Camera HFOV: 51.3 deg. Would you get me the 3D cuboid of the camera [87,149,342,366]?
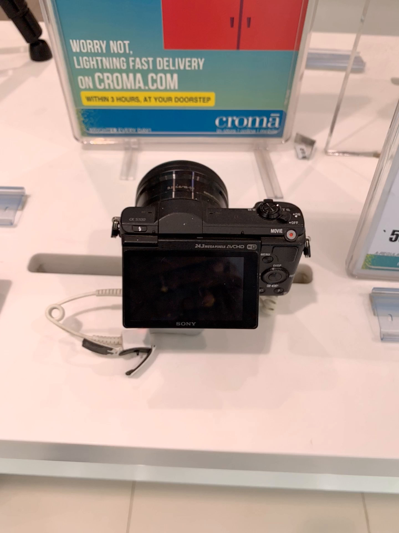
[{"bbox_3d":[0.007,-0.004,0.239,0.110,0.082,0.088,2,50,0],"label":"camera"}]
